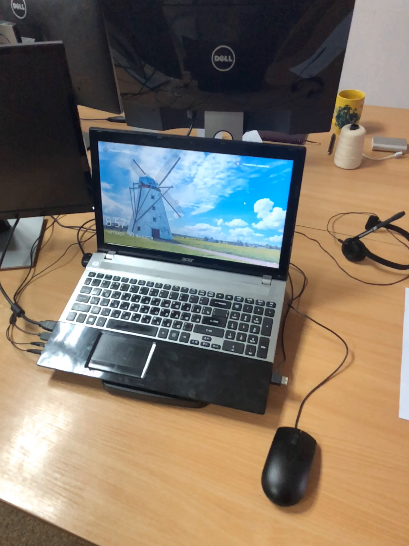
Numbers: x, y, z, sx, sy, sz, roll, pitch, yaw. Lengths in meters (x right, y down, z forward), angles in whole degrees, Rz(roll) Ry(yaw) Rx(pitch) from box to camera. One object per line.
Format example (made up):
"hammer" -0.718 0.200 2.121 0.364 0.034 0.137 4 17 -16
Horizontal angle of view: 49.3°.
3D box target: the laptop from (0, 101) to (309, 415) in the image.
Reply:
"laptop" -0.054 -0.046 0.715 0.373 0.211 0.361 9 53 12
